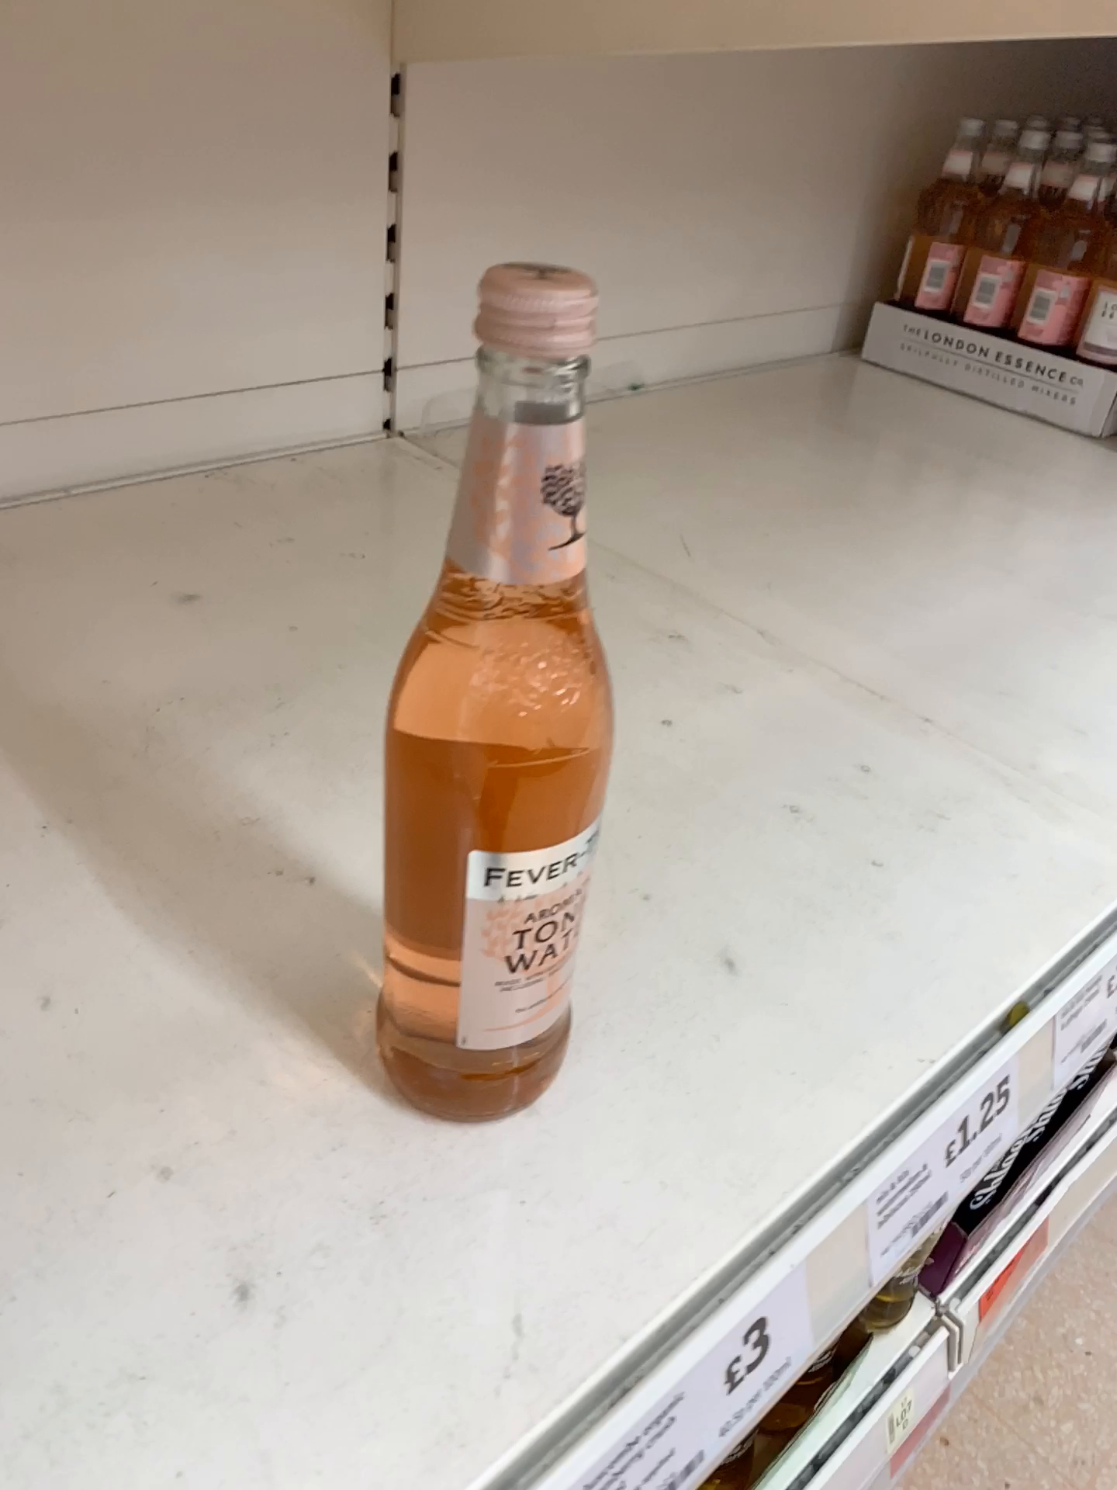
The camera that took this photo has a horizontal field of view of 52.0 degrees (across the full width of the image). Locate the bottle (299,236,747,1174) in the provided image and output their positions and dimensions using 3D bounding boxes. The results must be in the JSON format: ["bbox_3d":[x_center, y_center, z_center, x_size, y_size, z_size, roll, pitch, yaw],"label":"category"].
[{"bbox_3d":[-0.020,-0.001,0.329,0.067,0.253,0.078,30,40,31],"label":"bottle"}]
